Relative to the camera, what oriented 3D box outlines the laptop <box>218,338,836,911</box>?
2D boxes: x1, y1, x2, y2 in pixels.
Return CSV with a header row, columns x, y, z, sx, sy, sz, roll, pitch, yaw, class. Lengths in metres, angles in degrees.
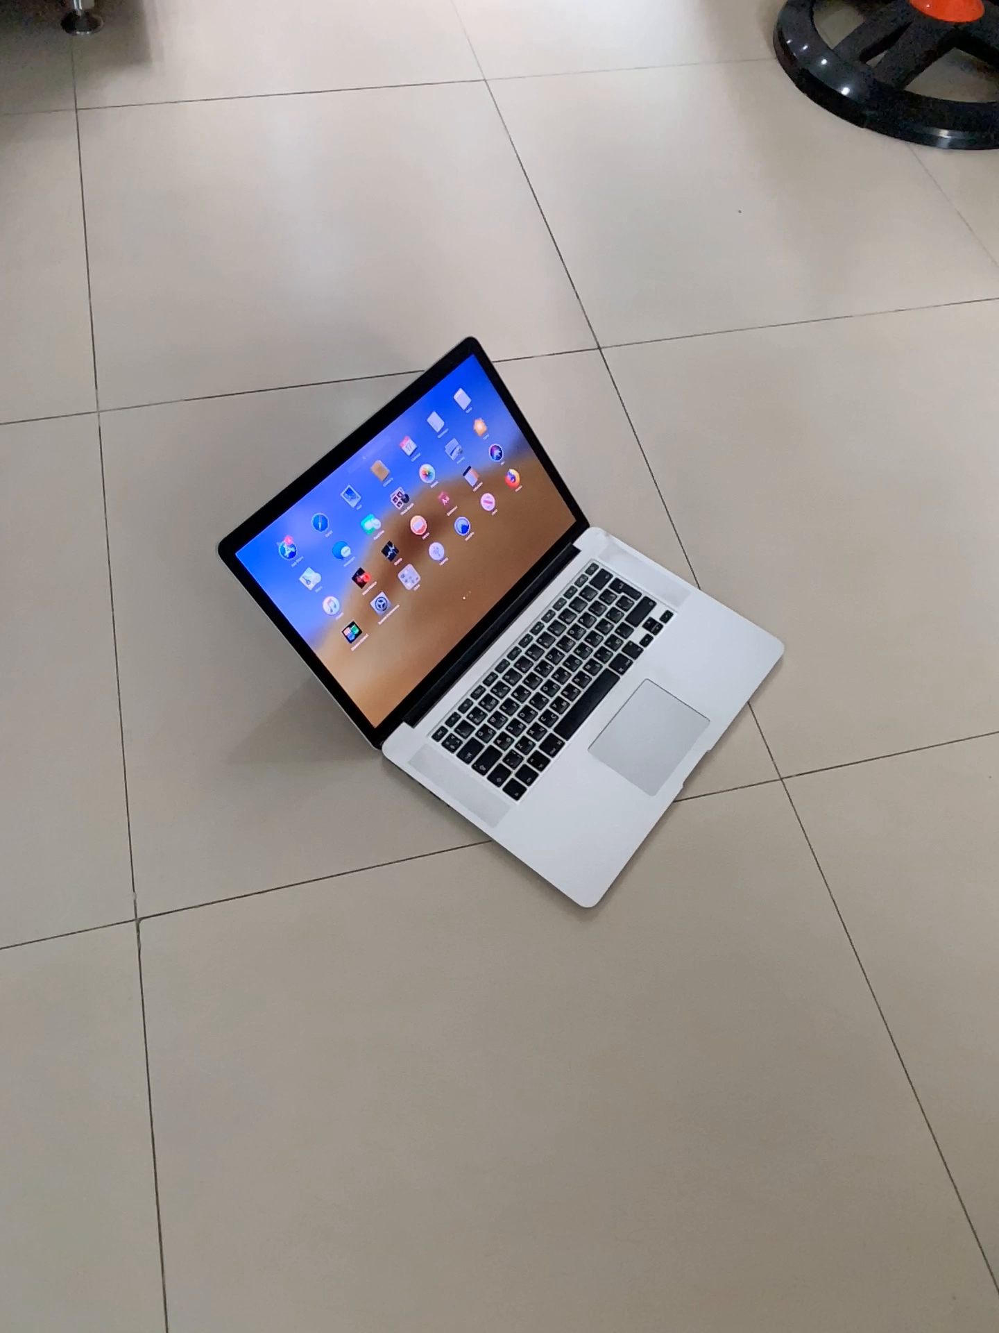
x,y,z,sx,sy,sz,roll,pitch,yaw,class
0.026,-0.059,0.954,0.415,0.162,0.353,34,62,16,laptop
